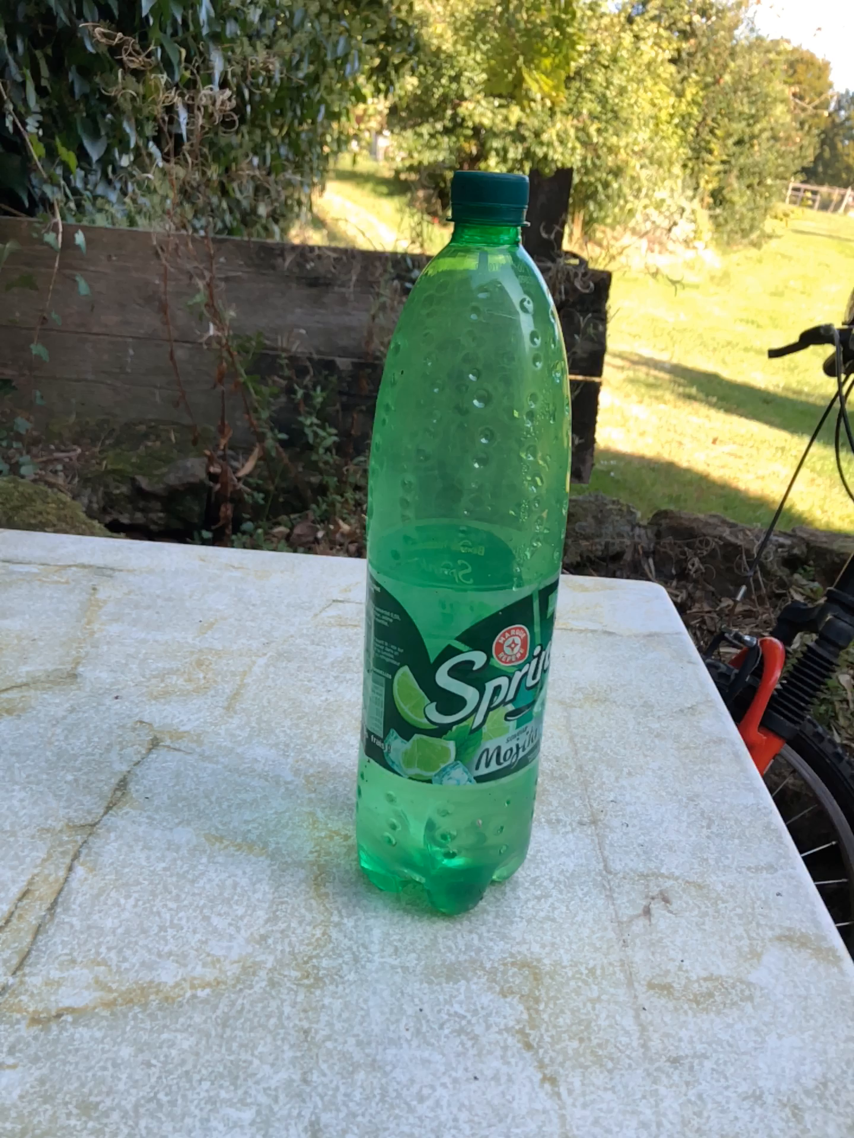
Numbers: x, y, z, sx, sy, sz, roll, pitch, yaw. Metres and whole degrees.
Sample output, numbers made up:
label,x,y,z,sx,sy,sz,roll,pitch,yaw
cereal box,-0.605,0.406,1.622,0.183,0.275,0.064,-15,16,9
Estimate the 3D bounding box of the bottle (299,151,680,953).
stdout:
label,x,y,z,sx,sy,sz,roll,pitch,yaw
bottle,0.015,-0.004,0.400,0.090,0.308,0.090,5,22,-2
